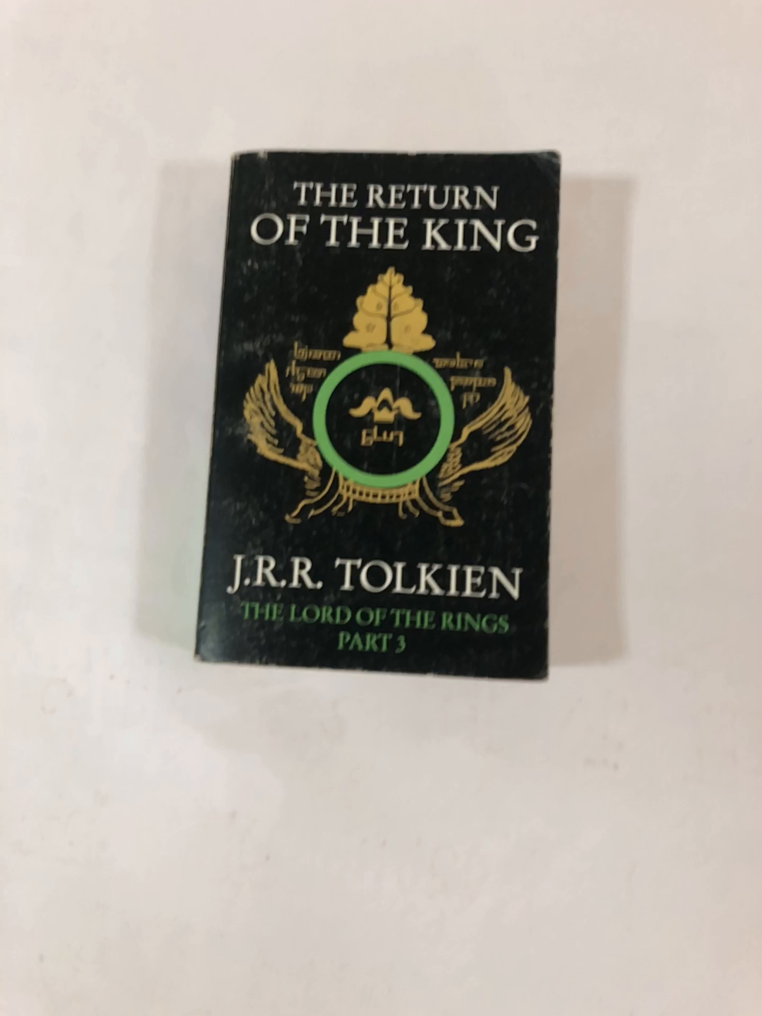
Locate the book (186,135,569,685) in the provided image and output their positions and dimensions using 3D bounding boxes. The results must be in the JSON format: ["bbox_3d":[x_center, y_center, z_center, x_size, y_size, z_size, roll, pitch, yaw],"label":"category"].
[{"bbox_3d":[0.002,-0.038,0.327,0.130,0.040,0.200,2,82,3],"label":"book"}]
